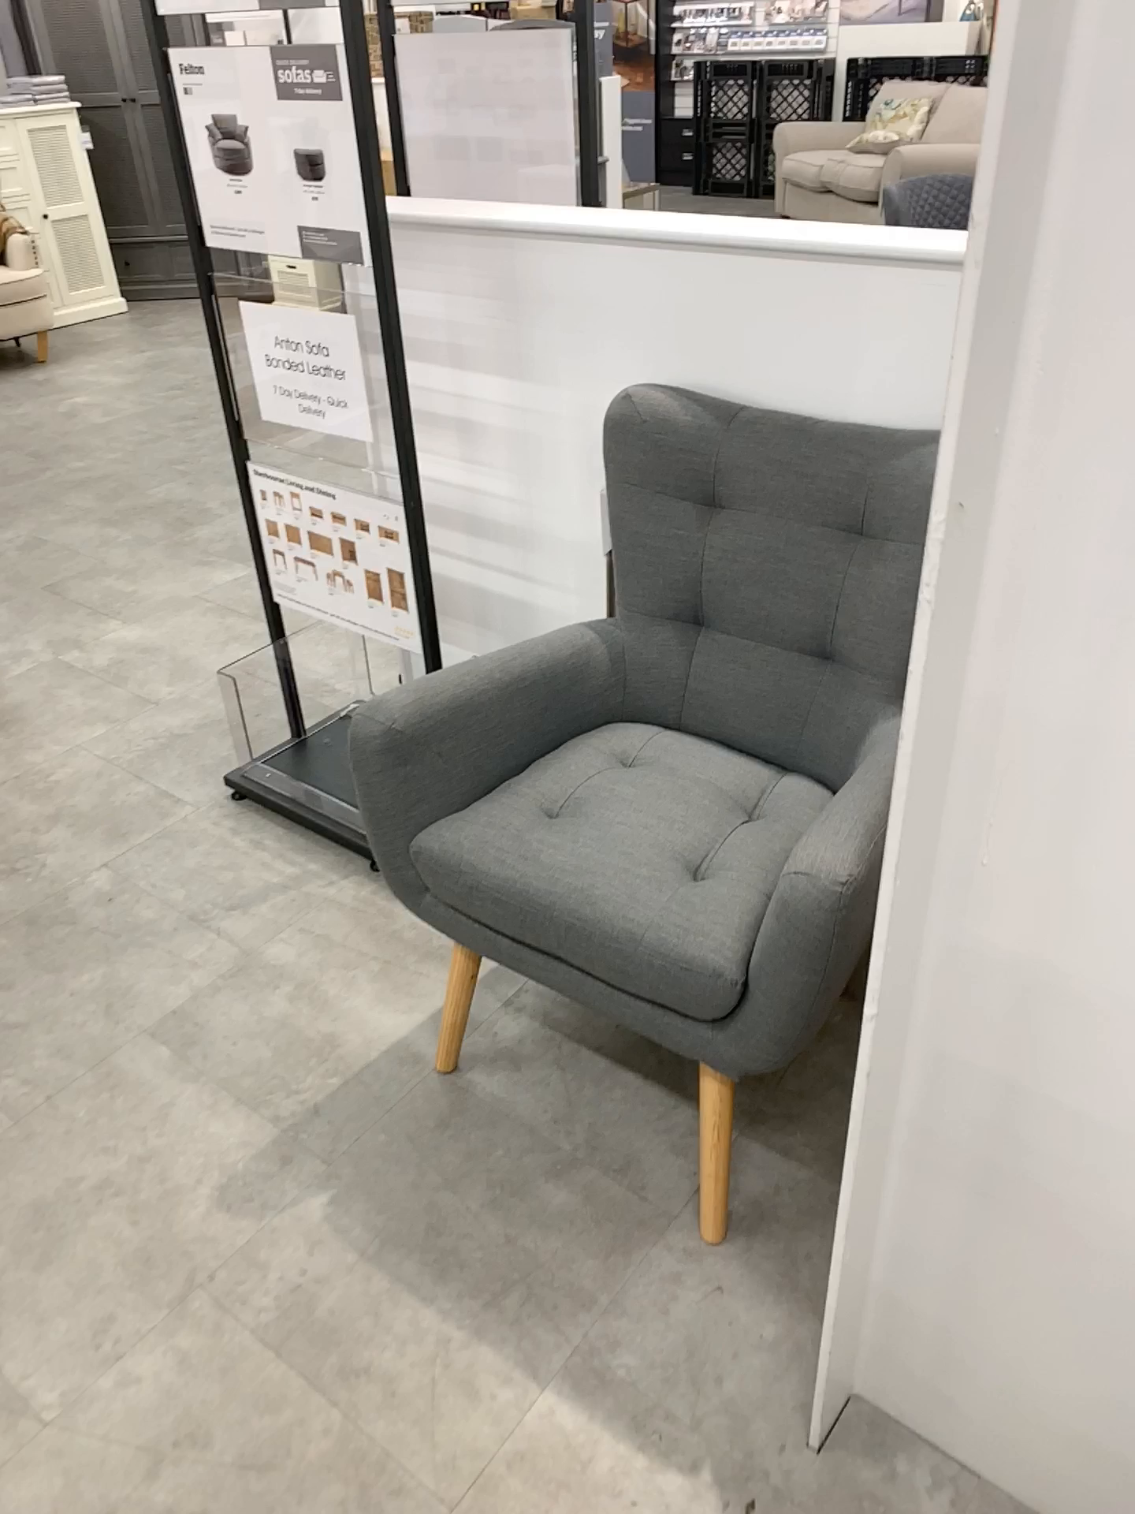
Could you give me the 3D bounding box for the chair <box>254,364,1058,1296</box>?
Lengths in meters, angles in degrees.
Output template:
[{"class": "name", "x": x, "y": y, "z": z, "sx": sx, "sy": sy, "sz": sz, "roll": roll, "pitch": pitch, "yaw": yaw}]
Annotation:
[{"class": "chair", "x": 0.113, "y": 0.041, "z": 1.511, "sx": 0.710, "sy": 0.878, "sz": 0.541, "roll": 21, "pitch": 39, "yaw": 33}]
